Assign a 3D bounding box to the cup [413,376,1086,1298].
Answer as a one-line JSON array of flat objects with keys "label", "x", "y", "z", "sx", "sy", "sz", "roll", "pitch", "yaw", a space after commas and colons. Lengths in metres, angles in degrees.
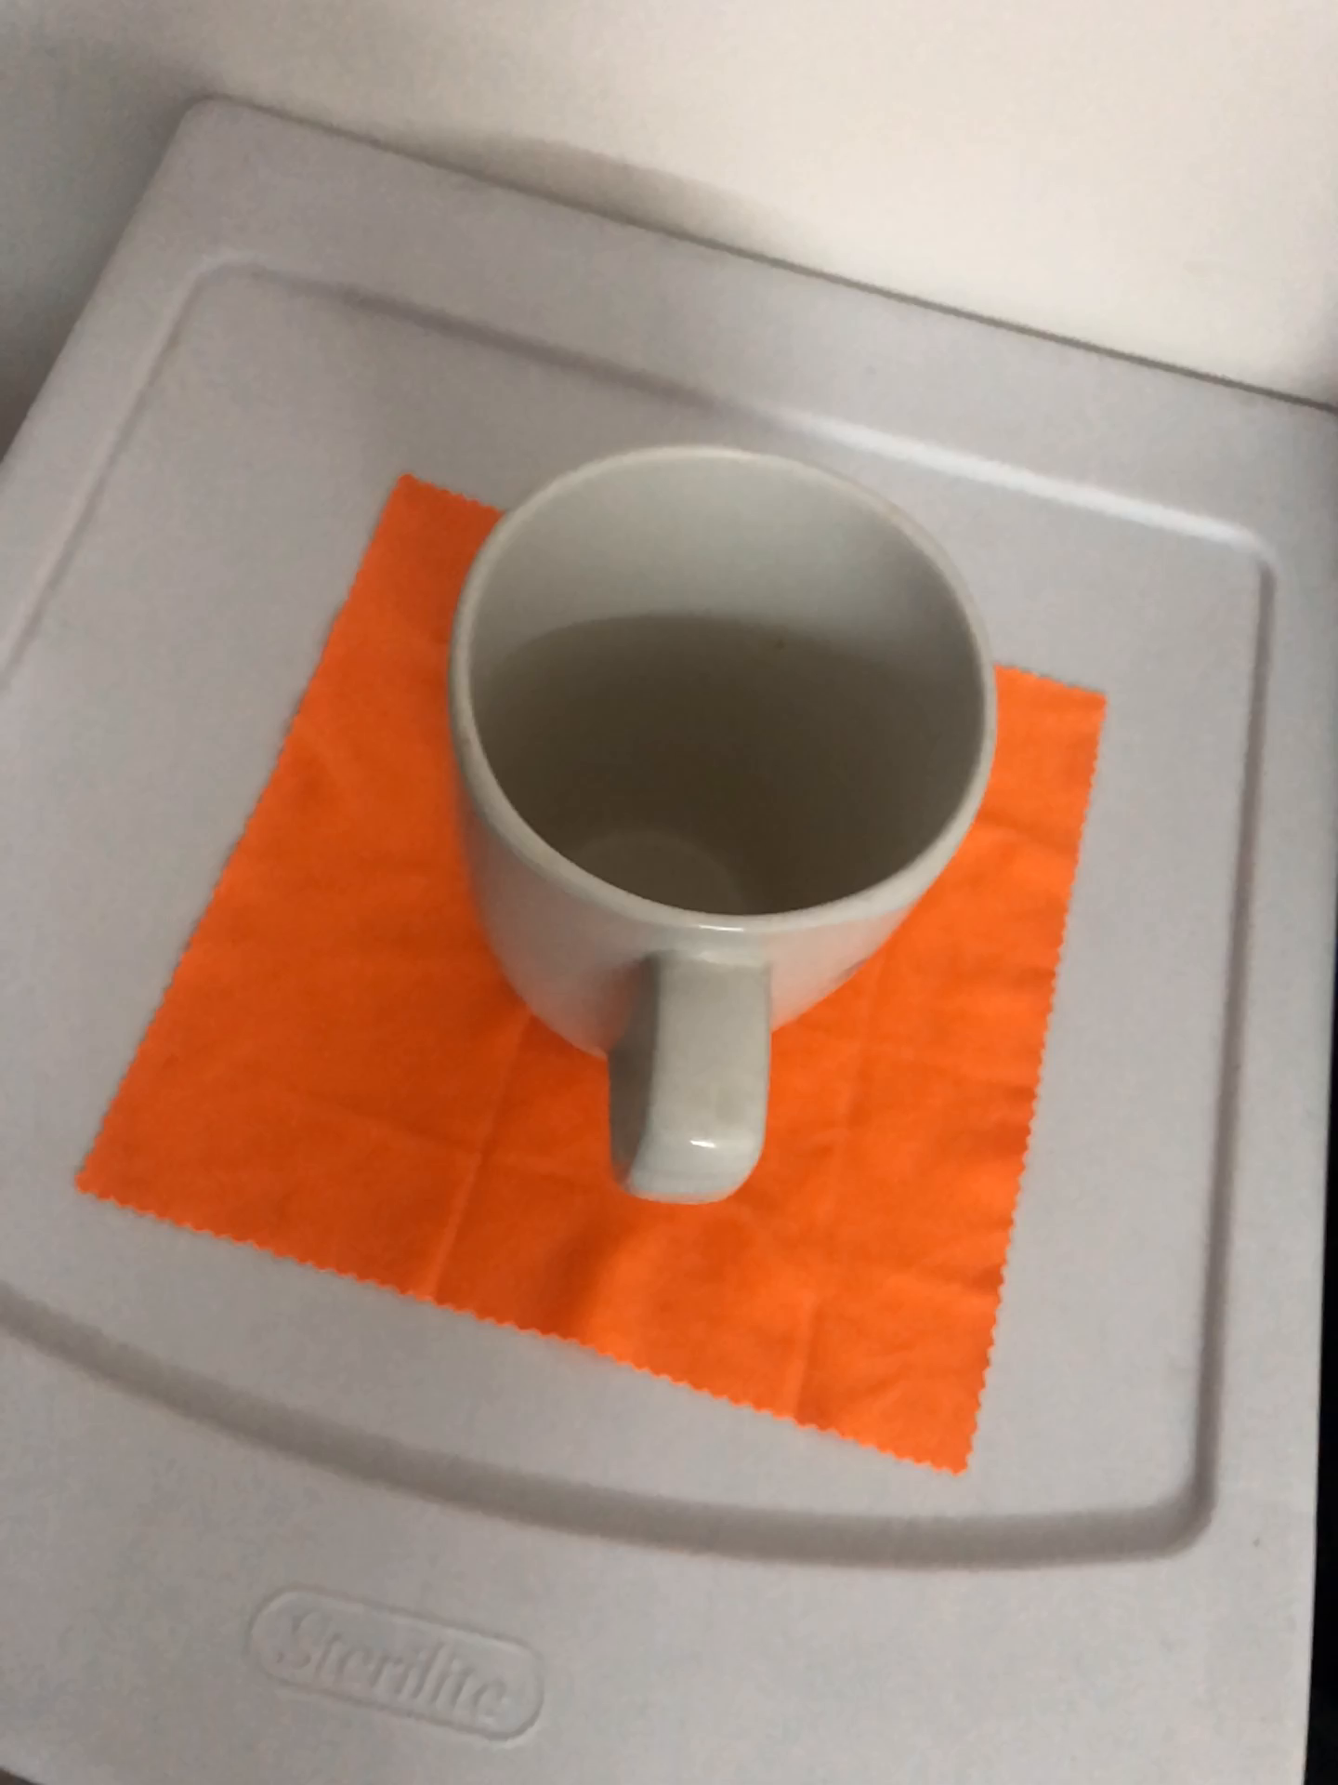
[{"label": "cup", "x": 0.010, "y": -0.002, "z": 0.268, "sx": 0.090, "sy": 0.100, "sz": 0.120, "roll": 9, "pitch": 65, "yaw": -5}]
